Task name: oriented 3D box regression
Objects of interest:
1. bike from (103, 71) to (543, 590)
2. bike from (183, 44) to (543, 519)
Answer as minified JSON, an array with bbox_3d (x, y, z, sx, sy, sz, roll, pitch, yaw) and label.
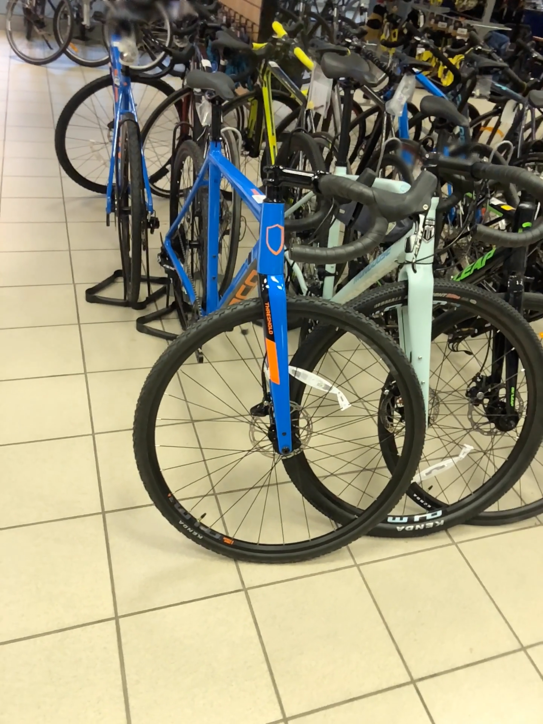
[{"bbox_3d":[0.007,-0.198,1.895,0.525,0.805,1.474,-13,46,-28],"label":"bike"},{"bbox_3d":[0.355,-0.350,1.940,0.617,0.870,1.426,-13,42,-28],"label":"bike"}]
